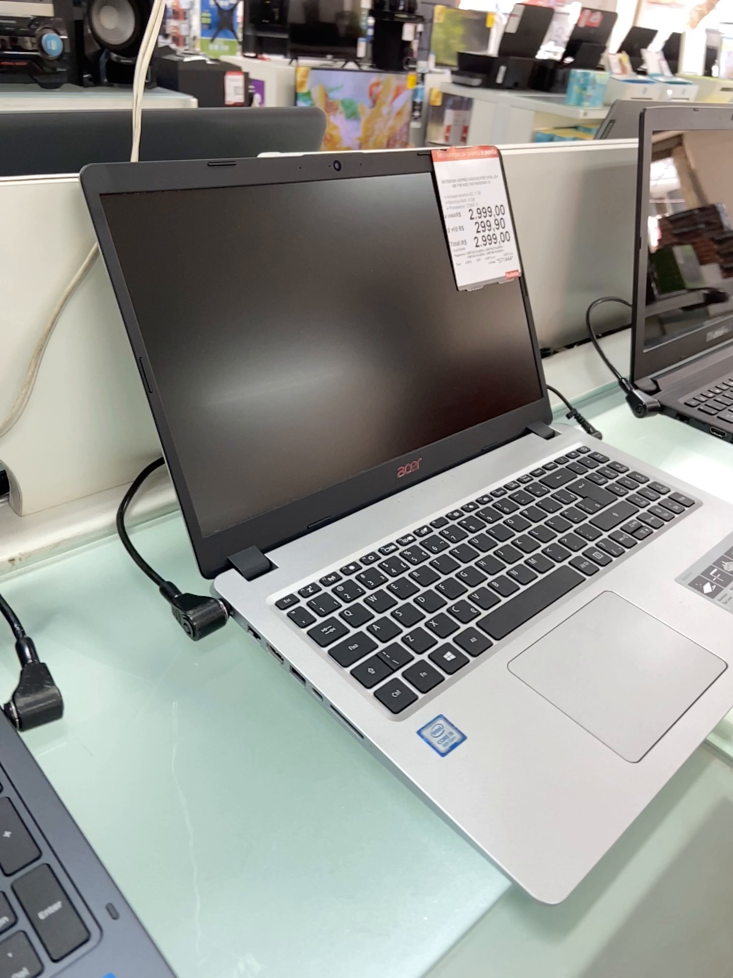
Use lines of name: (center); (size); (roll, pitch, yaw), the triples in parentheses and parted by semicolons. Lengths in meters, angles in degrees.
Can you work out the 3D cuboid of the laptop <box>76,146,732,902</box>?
laptop: (0.091, -0.063, 0.471); (0.368, 0.205, 0.373); (-22, 43, -38)
